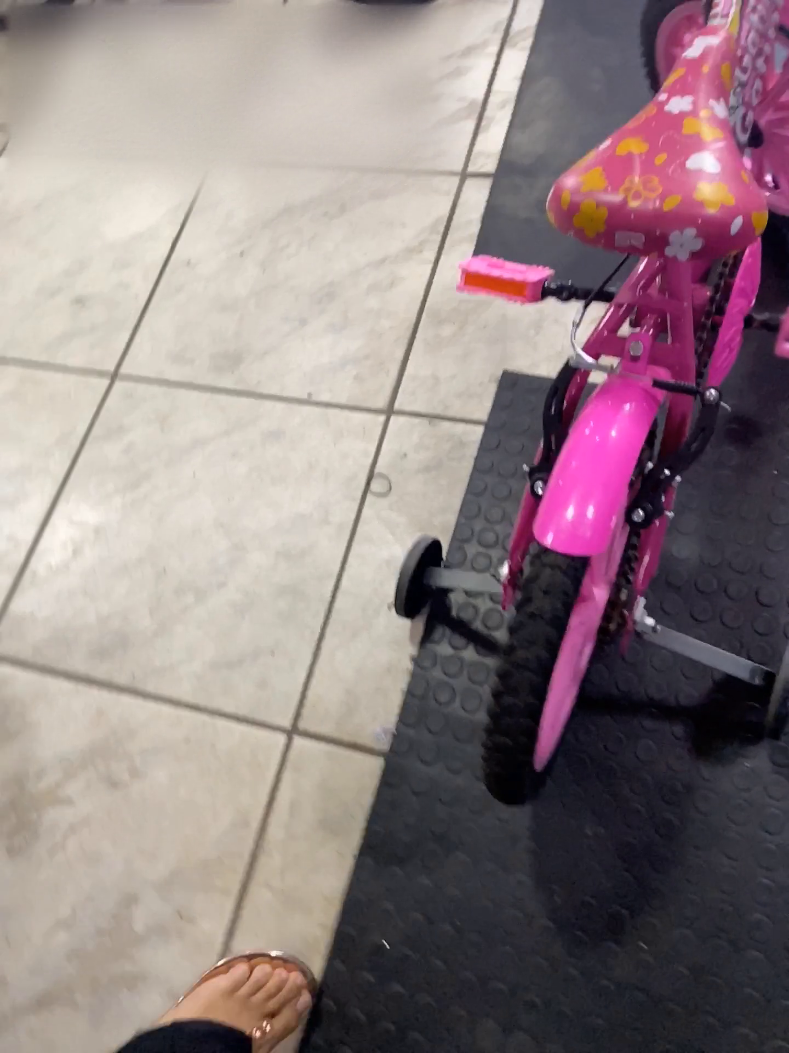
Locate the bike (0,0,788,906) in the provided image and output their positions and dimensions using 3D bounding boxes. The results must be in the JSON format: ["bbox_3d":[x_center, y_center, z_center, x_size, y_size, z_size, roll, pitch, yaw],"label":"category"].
[{"bbox_3d":[0.183,-0.279,0.681,0.466,0.791,0.940,10,66,17],"label":"bike"}]
